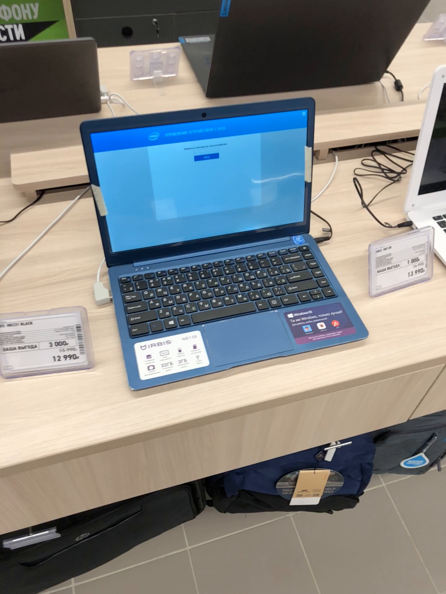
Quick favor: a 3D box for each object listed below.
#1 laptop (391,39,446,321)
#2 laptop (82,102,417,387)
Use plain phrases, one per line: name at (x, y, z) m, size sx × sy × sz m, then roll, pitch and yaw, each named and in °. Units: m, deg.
laptop at (0.483, -0.181, 0.706) m, size 0.311 × 0.218 × 0.289 m, roll -13°, pitch 52°, yaw -13°
laptop at (0.009, -0.081, 0.624) m, size 0.309 × 0.185 × 0.271 m, roll -11°, pitch 51°, yaw -13°
